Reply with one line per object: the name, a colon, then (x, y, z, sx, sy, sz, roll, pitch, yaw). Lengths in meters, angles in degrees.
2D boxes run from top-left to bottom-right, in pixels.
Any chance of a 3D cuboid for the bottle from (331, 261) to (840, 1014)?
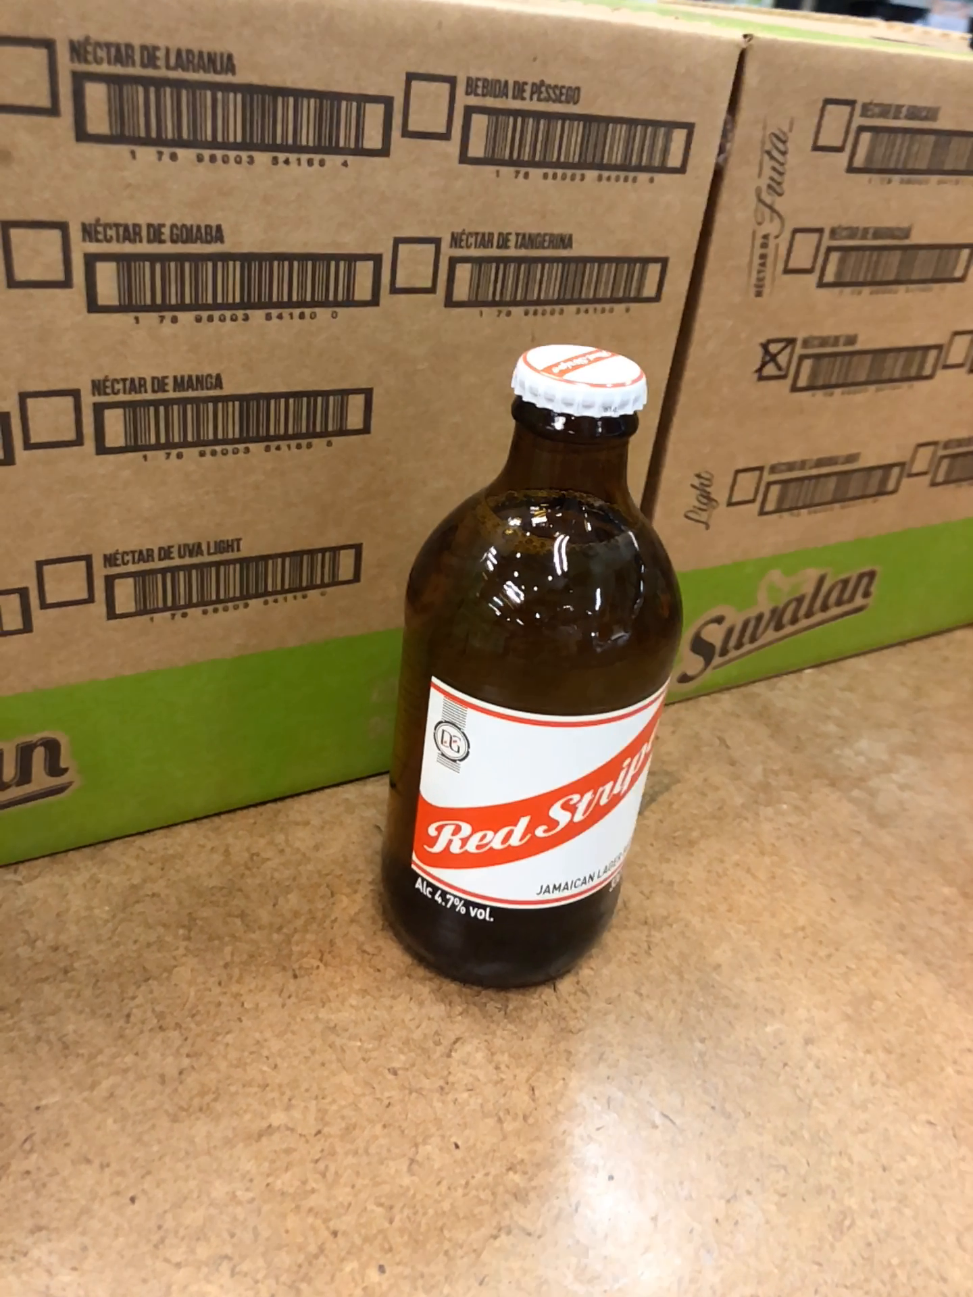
bottle: (0.010, 0.001, 0.258, 0.080, 0.159, 0.070, -1, 32, -14)
